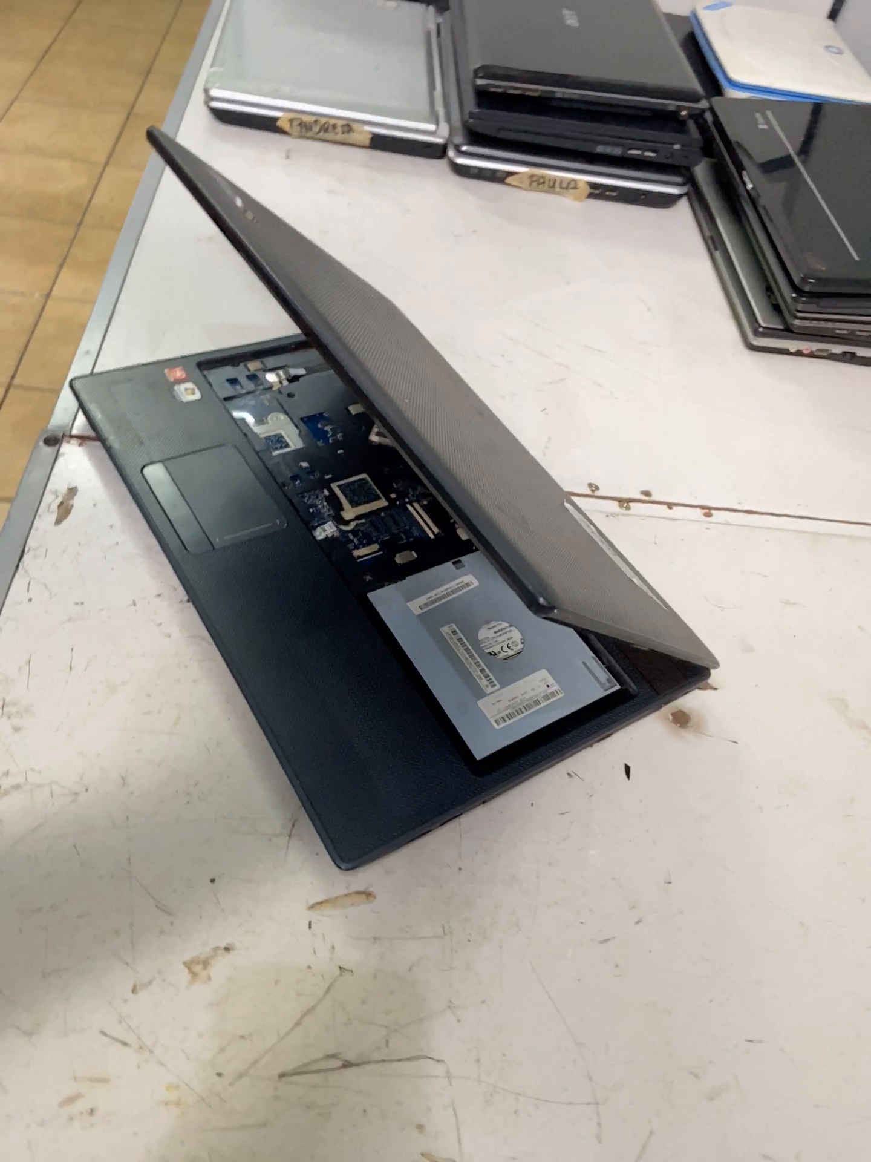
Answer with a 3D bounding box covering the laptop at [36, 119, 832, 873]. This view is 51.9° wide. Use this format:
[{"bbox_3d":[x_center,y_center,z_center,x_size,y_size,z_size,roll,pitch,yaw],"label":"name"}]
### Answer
[{"bbox_3d":[-0.030,-0.085,0.495,0.240,0.156,0.370,-20,56,-27],"label":"laptop"}]
